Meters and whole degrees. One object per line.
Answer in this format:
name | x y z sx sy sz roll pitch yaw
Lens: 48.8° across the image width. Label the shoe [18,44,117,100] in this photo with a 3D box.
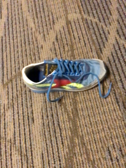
shoe | 0.008 -0.029 0.422 0.259 0.095 0.101 -9 70 5
